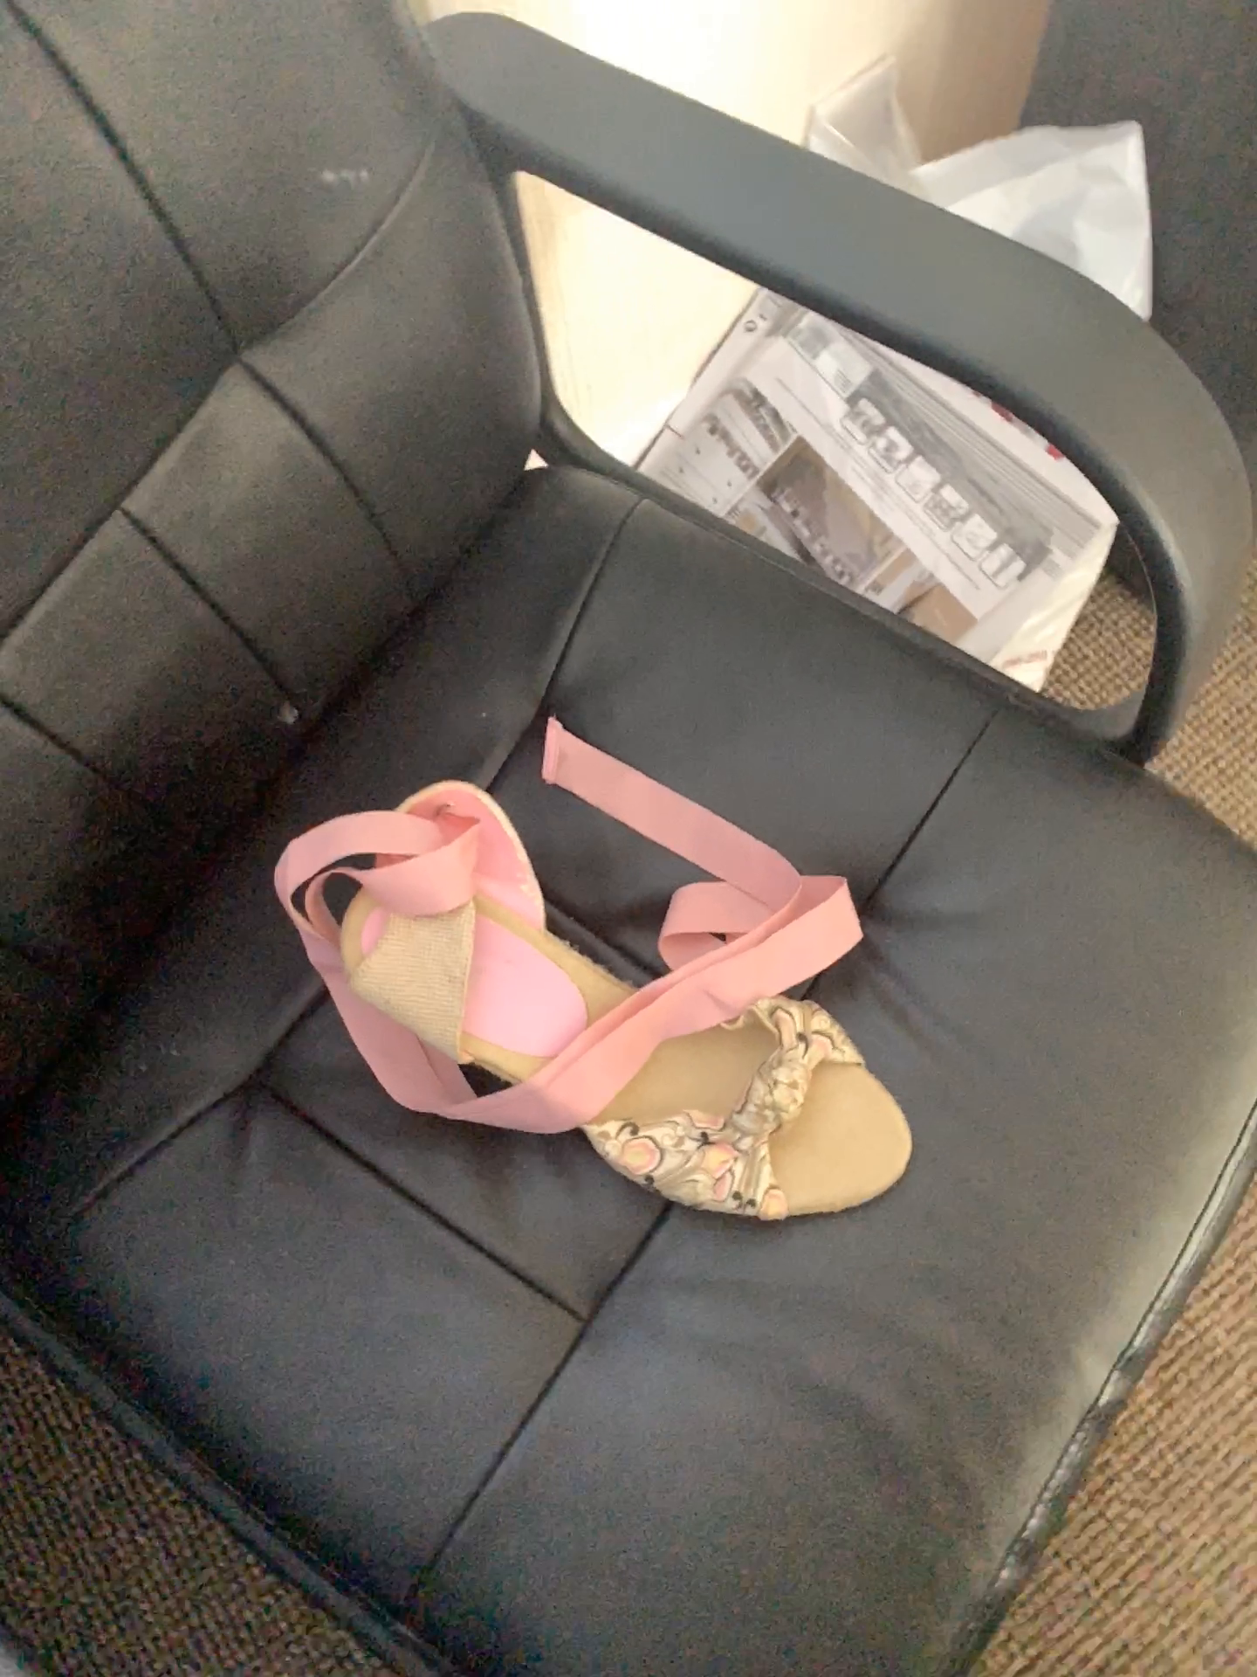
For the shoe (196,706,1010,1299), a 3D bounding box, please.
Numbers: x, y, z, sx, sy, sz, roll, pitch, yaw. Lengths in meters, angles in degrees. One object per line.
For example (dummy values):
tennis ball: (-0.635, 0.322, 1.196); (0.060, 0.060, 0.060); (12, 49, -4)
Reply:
shoe: (-0.009, 0.071, 0.514); (0.270, 0.140, 0.100); (25, 74, 11)
